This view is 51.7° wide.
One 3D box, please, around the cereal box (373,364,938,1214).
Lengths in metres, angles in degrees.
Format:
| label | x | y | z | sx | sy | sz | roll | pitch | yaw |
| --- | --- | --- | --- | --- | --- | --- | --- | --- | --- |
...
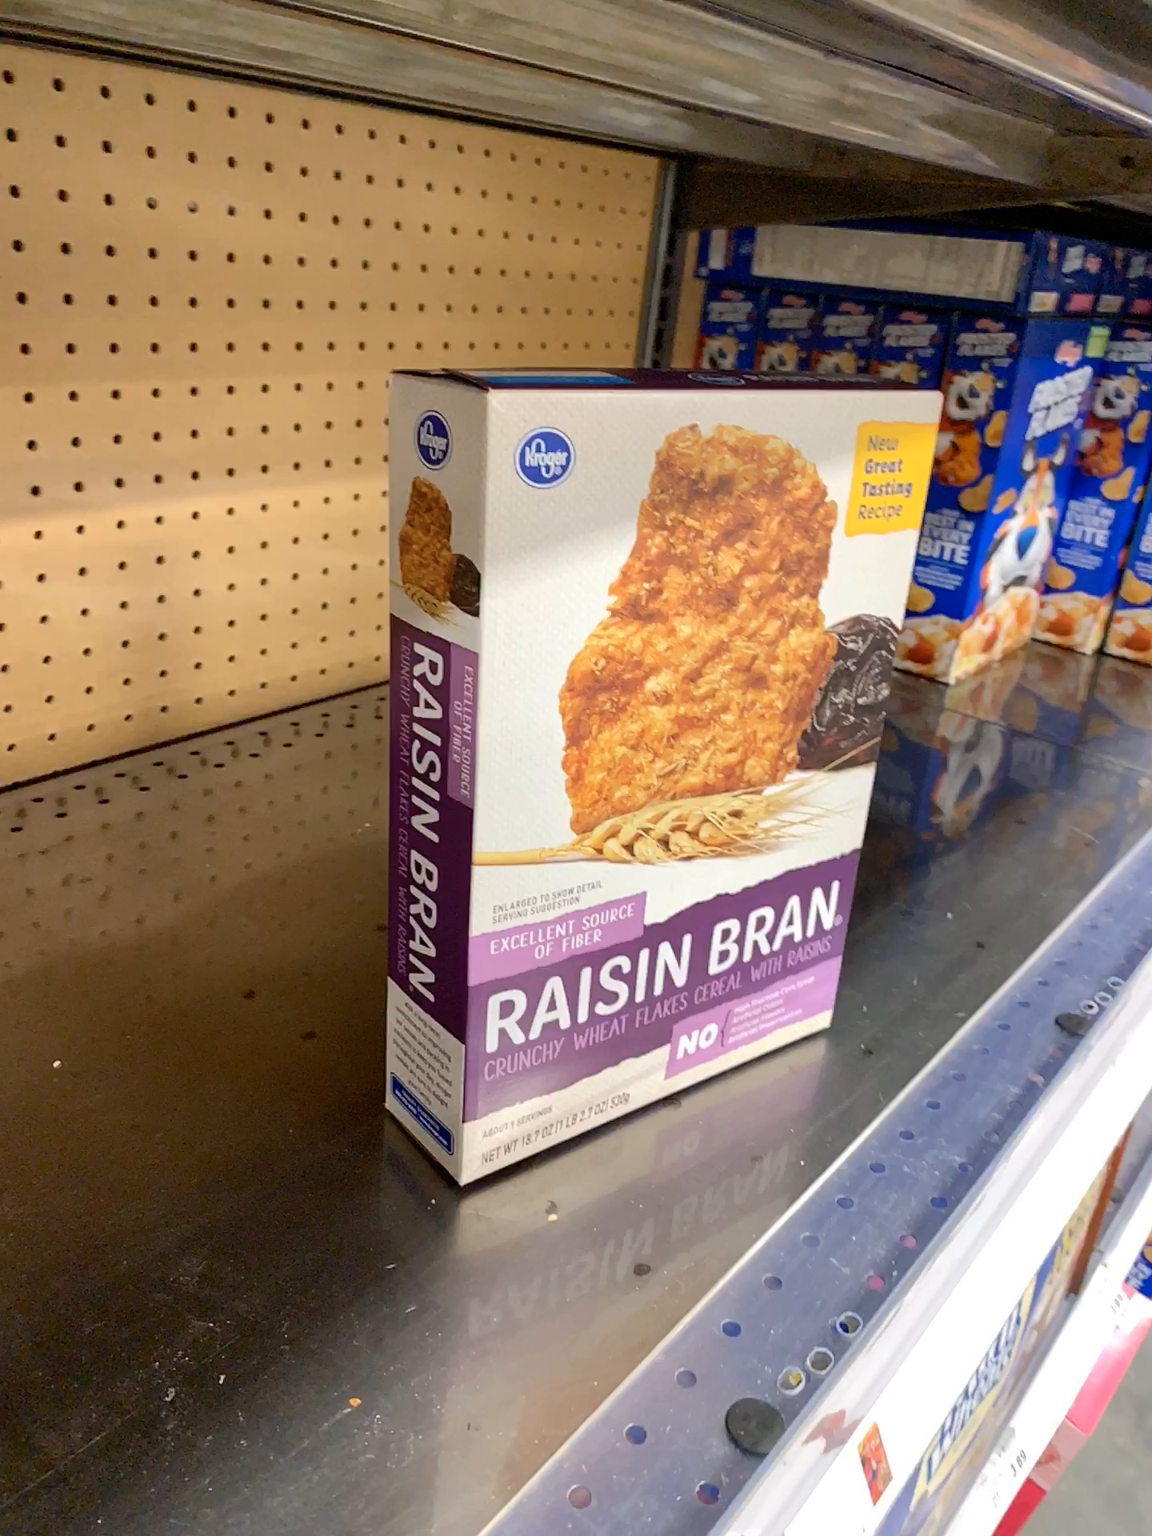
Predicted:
| label | x | y | z | sx | sy | sz | roll | pitch | yaw |
| --- | --- | --- | --- | --- | --- | --- | --- | --- | --- |
| cereal box | 0.025 | 0.001 | 0.425 | 0.190 | 0.269 | 0.050 | -13 | 28 | -36 |
